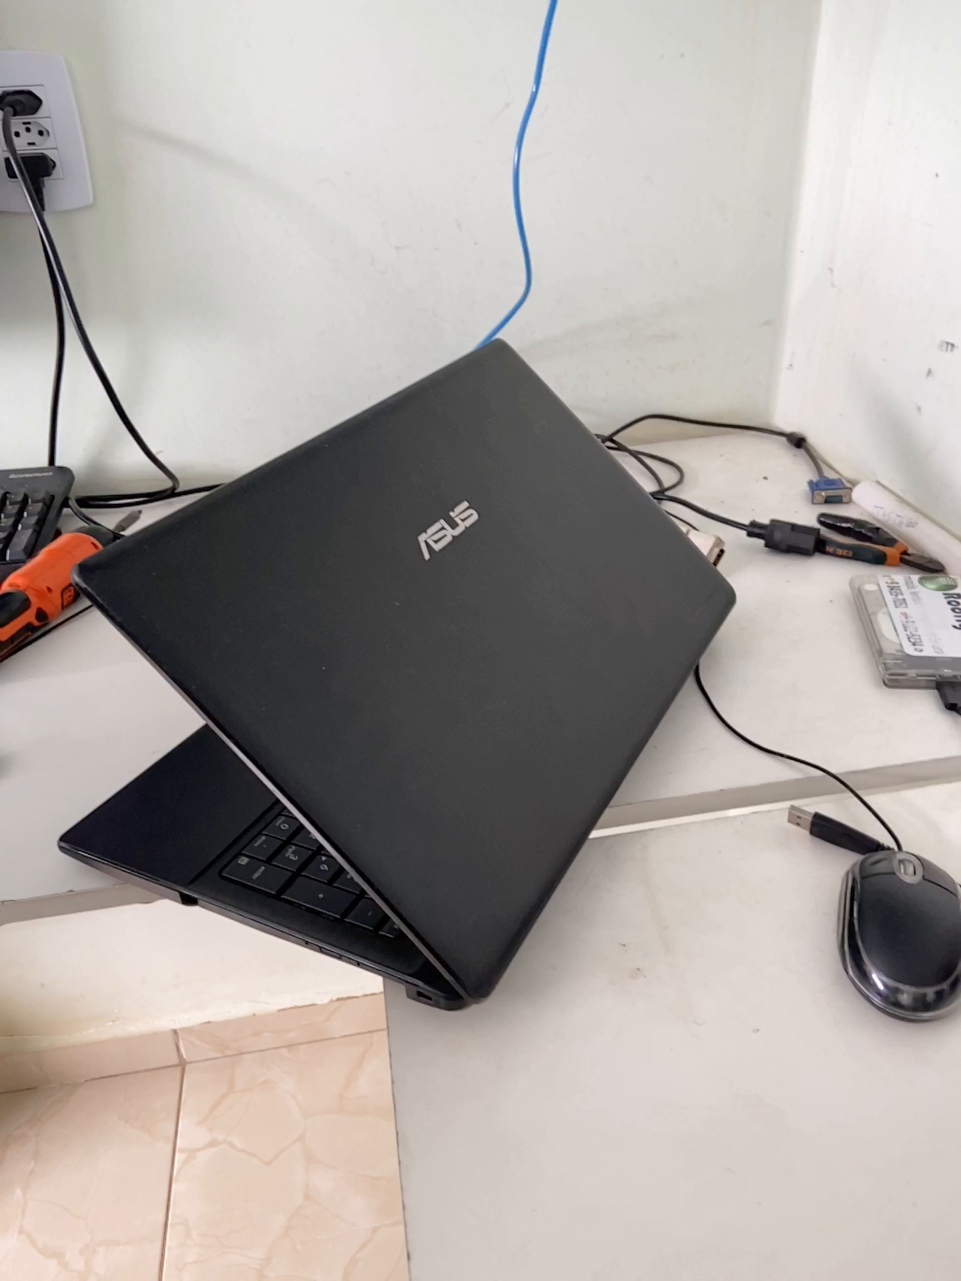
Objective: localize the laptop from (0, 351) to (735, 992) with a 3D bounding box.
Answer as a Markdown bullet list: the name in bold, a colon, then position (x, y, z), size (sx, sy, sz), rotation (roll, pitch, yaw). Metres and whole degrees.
- **laptop**: position (-0.034, -0.033, 0.577), size (0.247, 0.166, 0.378), rotation (12, 34, 27)
